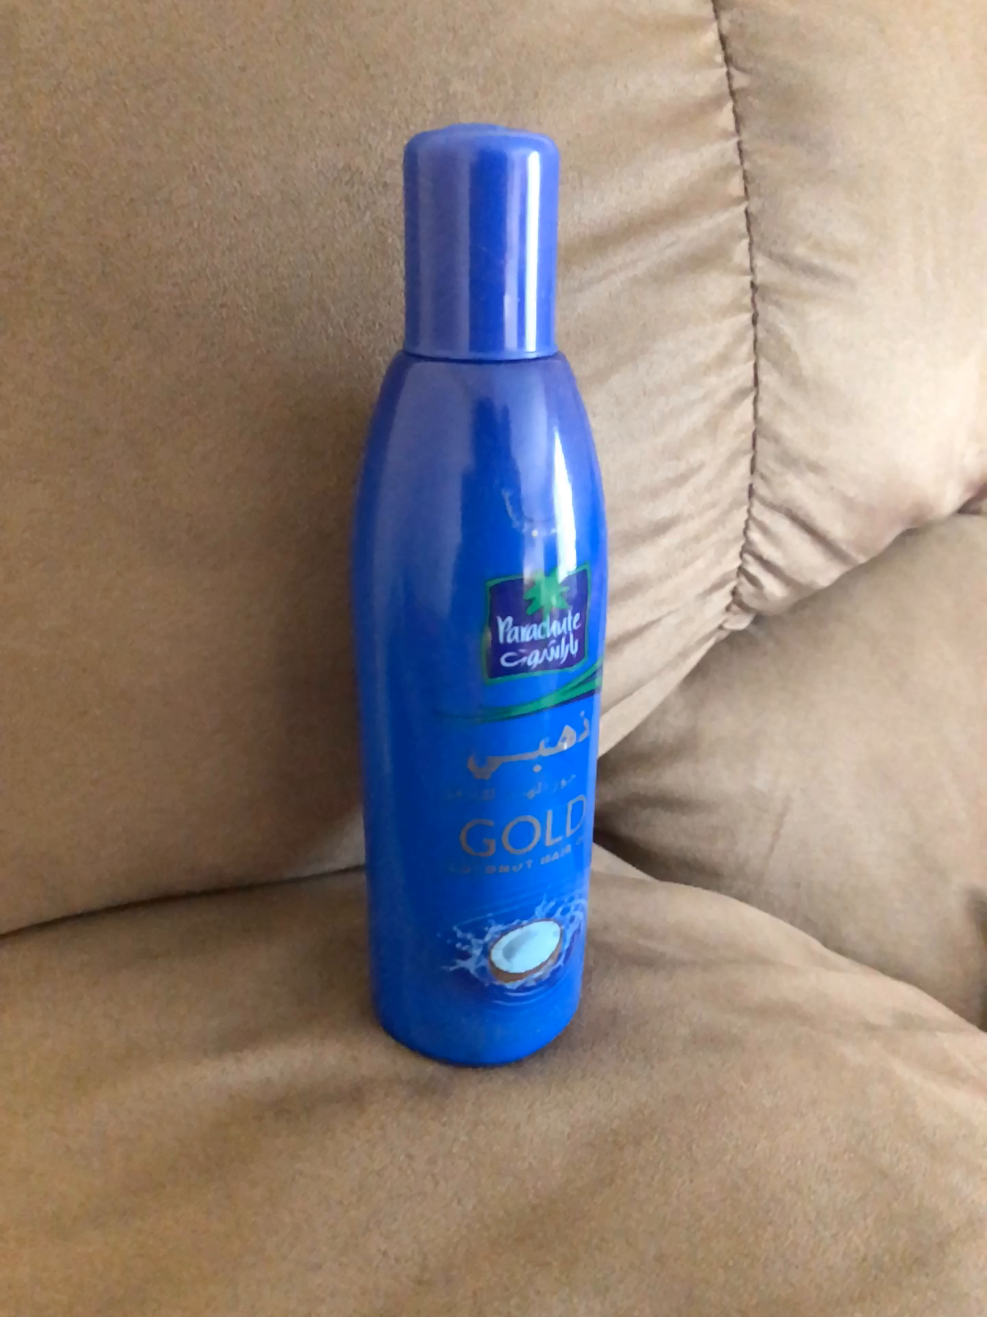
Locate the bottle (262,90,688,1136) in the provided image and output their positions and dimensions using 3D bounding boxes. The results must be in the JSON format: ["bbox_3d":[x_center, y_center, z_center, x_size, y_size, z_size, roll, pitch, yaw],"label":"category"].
[{"bbox_3d":[-0.006,-0.004,0.211,0.050,0.180,0.050,1,22,0],"label":"bottle"}]
